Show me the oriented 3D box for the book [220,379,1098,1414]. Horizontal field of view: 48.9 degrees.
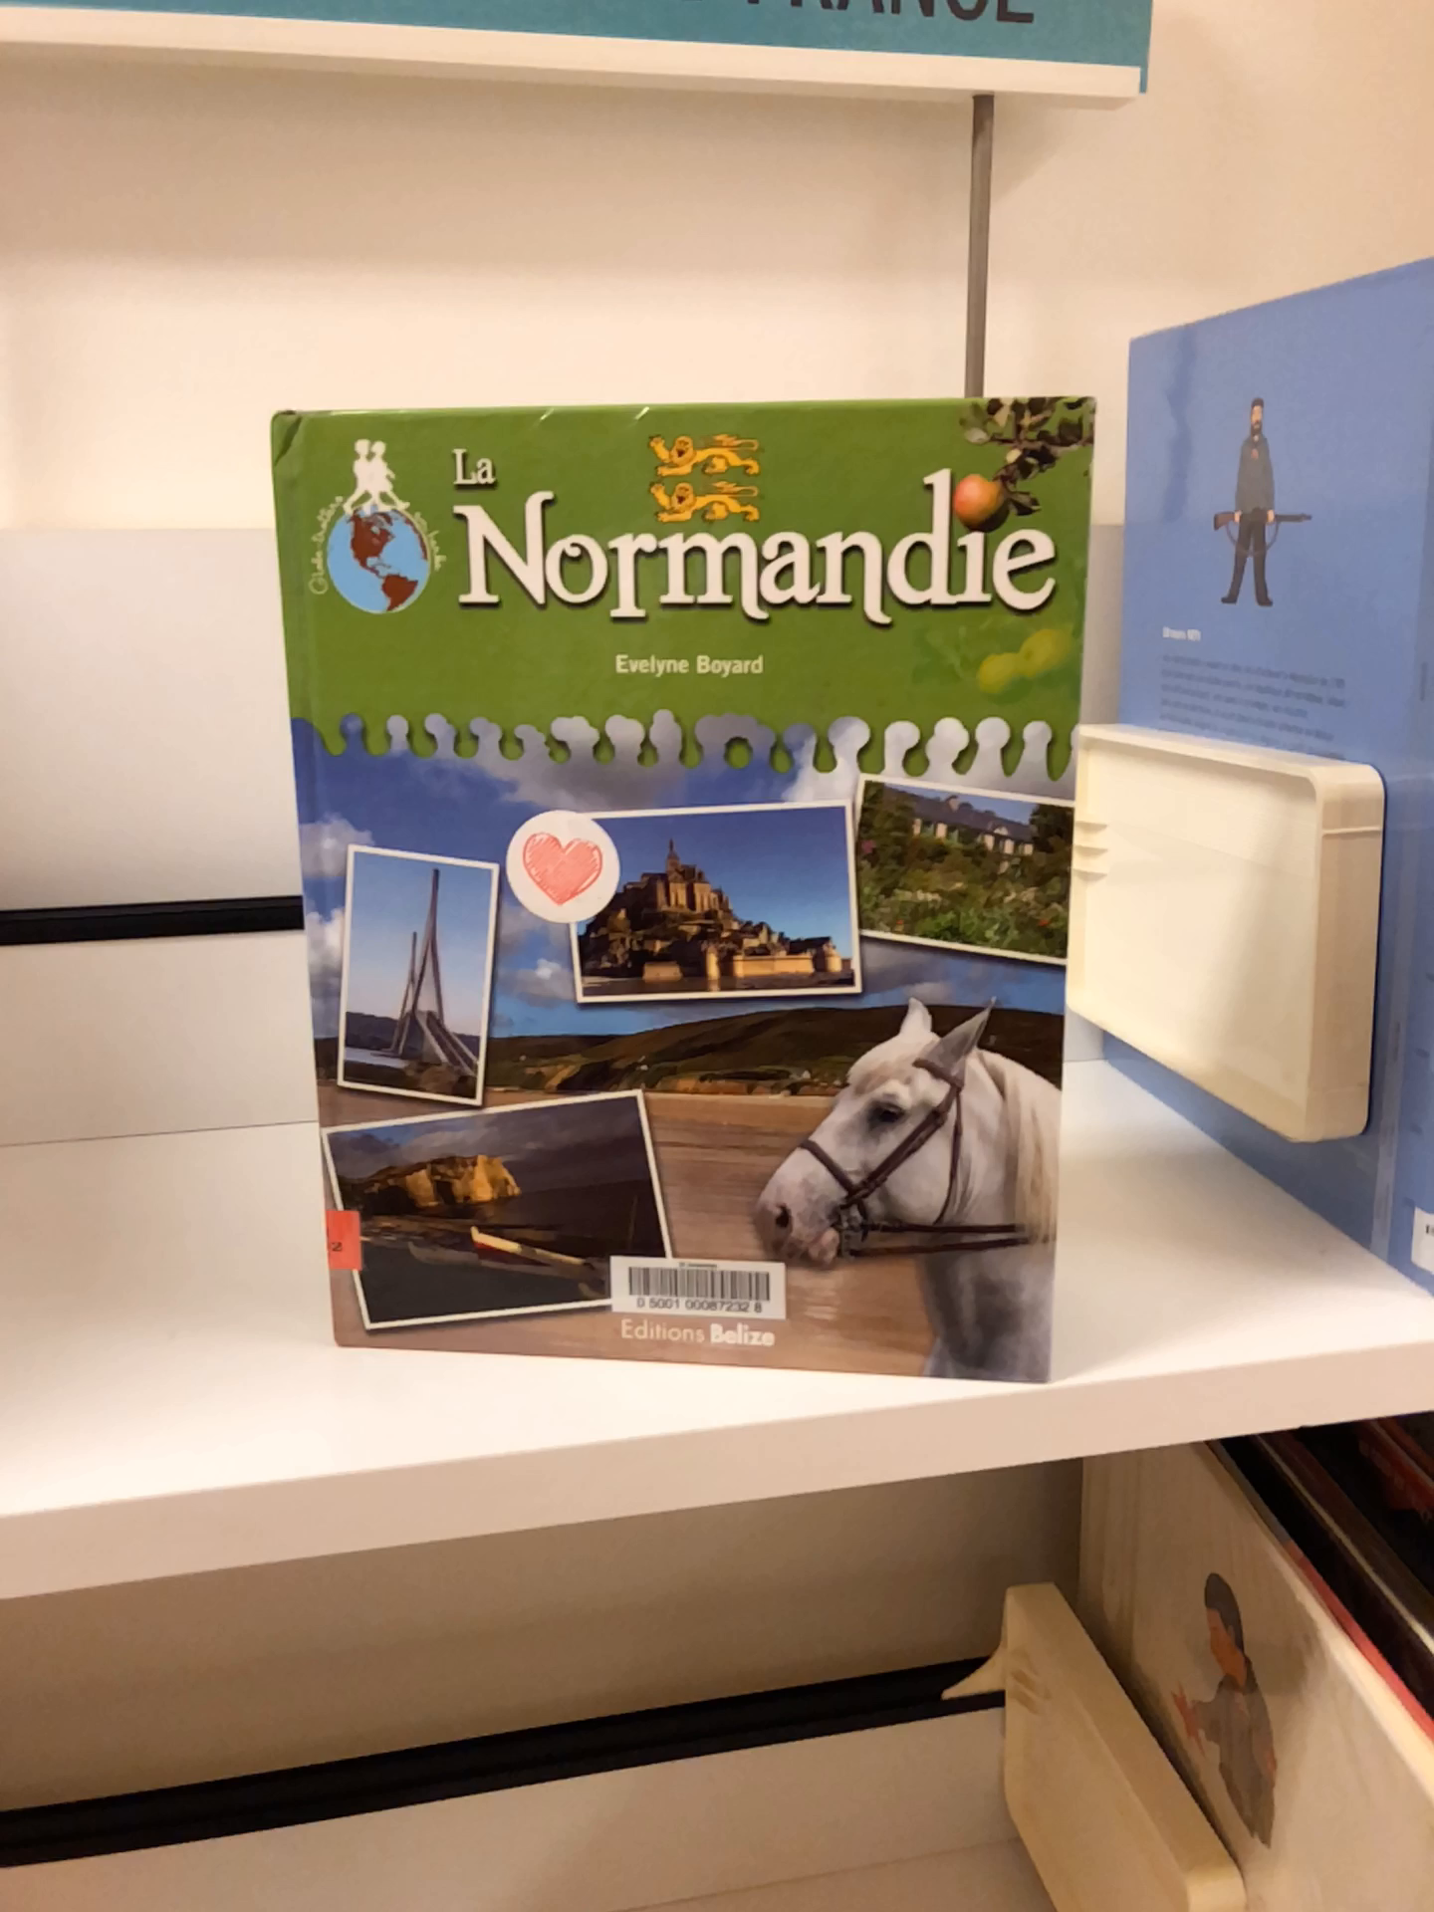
[{"bbox_3d":[-0.010,-0.018,0.429,0.207,0.249,0.077,2,14,11],"label":"book"}]
